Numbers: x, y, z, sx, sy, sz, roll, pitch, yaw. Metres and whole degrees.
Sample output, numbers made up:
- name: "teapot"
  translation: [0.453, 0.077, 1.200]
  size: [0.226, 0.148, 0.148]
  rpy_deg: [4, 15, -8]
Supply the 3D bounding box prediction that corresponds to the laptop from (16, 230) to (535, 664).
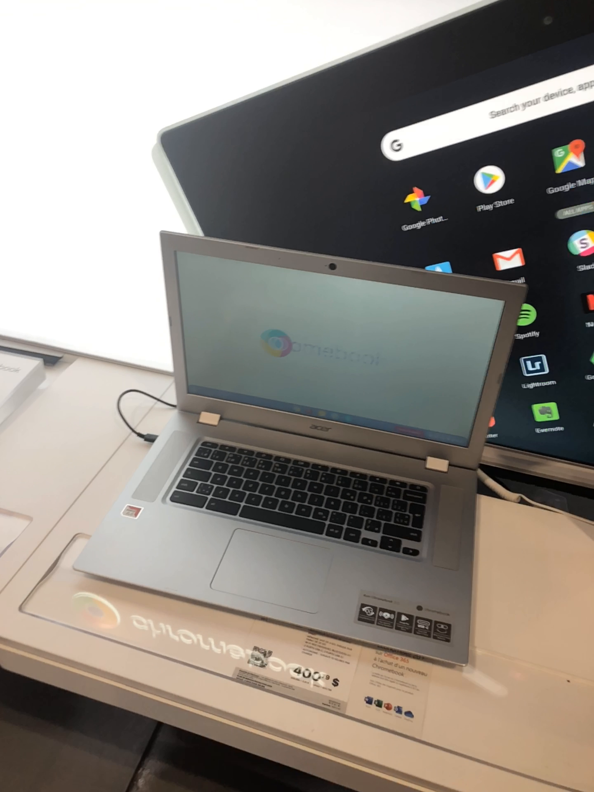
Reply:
- name: "laptop"
  translation: [0.000, 0.028, 0.637]
  size: [0.377, 0.250, 0.265]
  rpy_deg: [10, 37, 10]
